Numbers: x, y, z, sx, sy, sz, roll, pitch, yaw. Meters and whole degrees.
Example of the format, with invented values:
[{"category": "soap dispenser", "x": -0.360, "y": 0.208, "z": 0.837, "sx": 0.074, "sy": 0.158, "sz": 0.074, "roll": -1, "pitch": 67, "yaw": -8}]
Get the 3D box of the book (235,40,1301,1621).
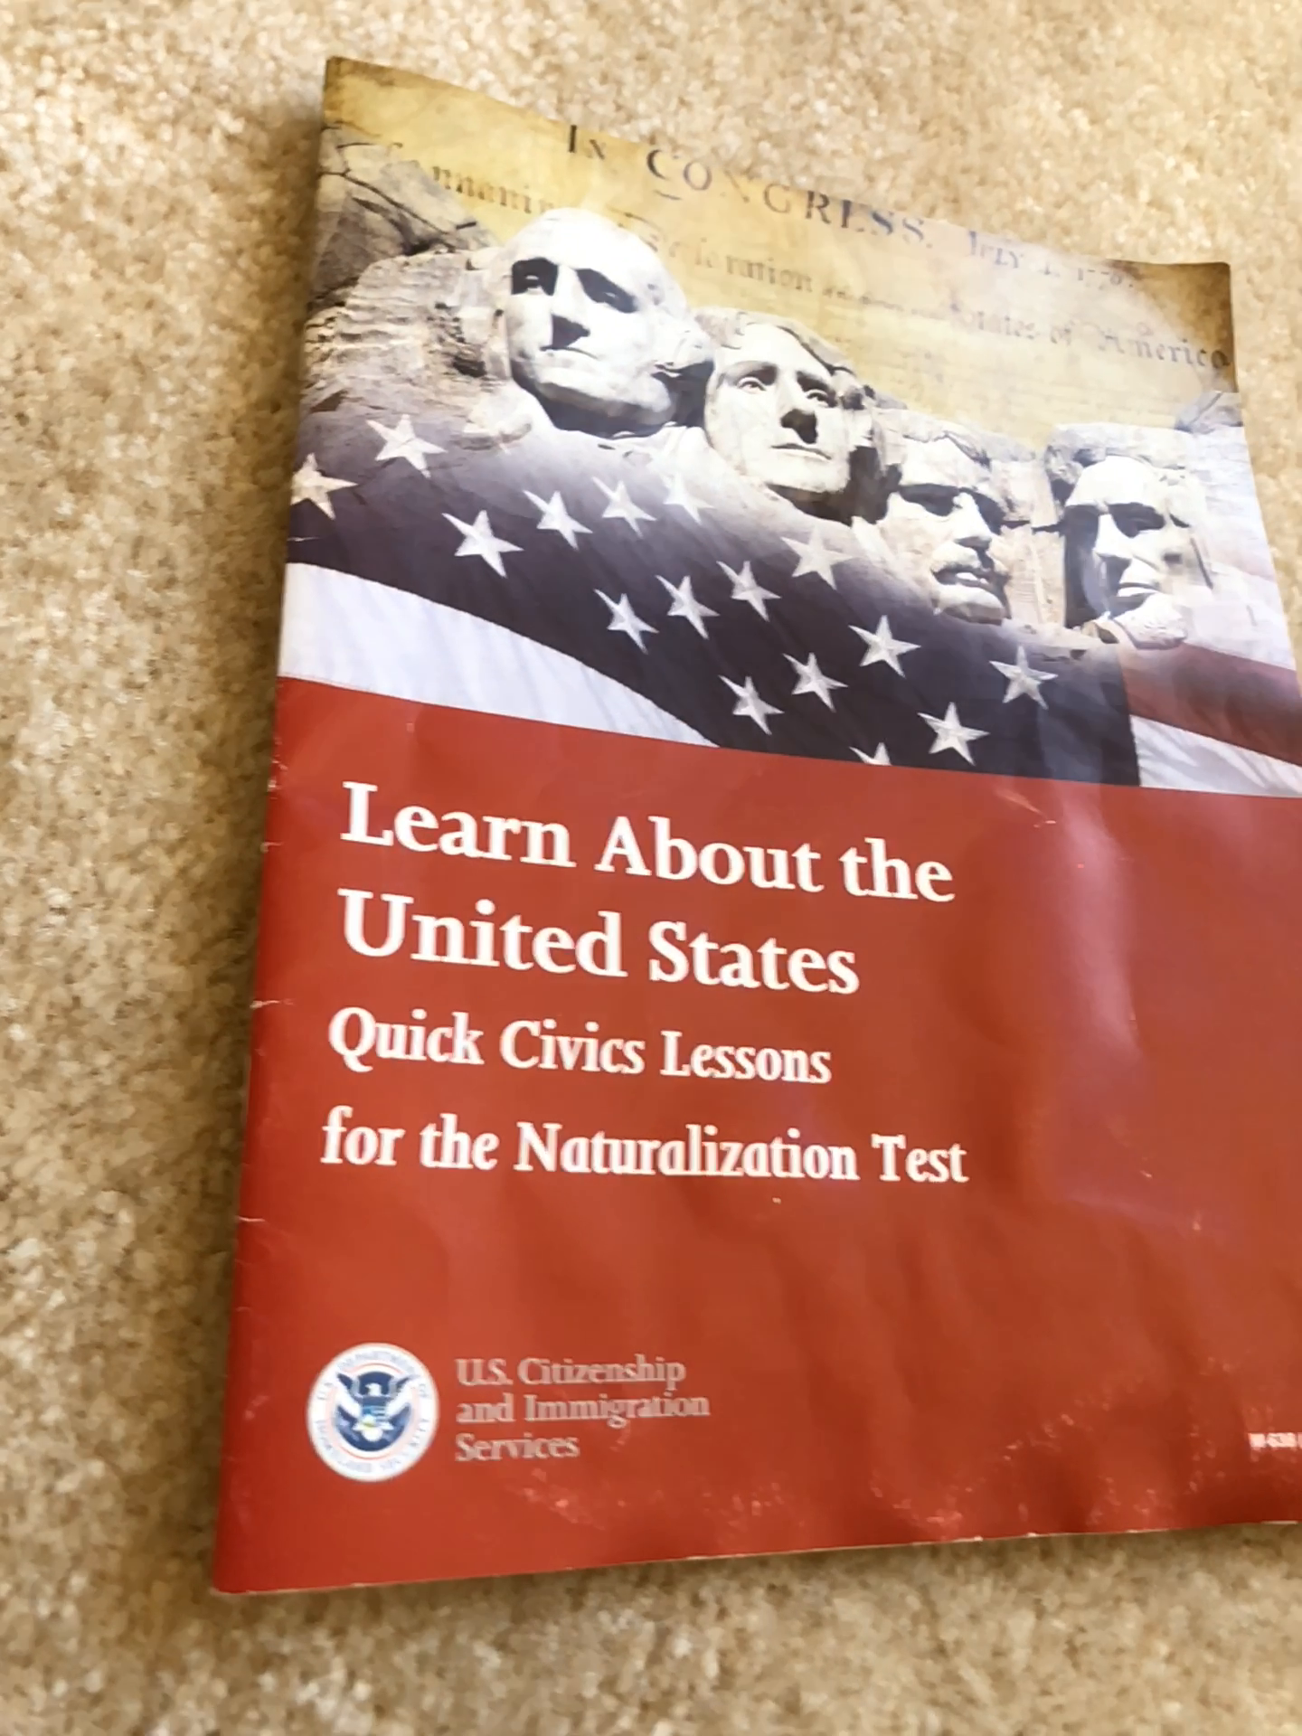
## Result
[{"category": "book", "x": 0.039, "y": -0.019, "z": 0.276, "sx": 0.208, "sy": 0.028, "sz": 0.273, "roll": 5, "pitch": 69, "yaw": -17}]
